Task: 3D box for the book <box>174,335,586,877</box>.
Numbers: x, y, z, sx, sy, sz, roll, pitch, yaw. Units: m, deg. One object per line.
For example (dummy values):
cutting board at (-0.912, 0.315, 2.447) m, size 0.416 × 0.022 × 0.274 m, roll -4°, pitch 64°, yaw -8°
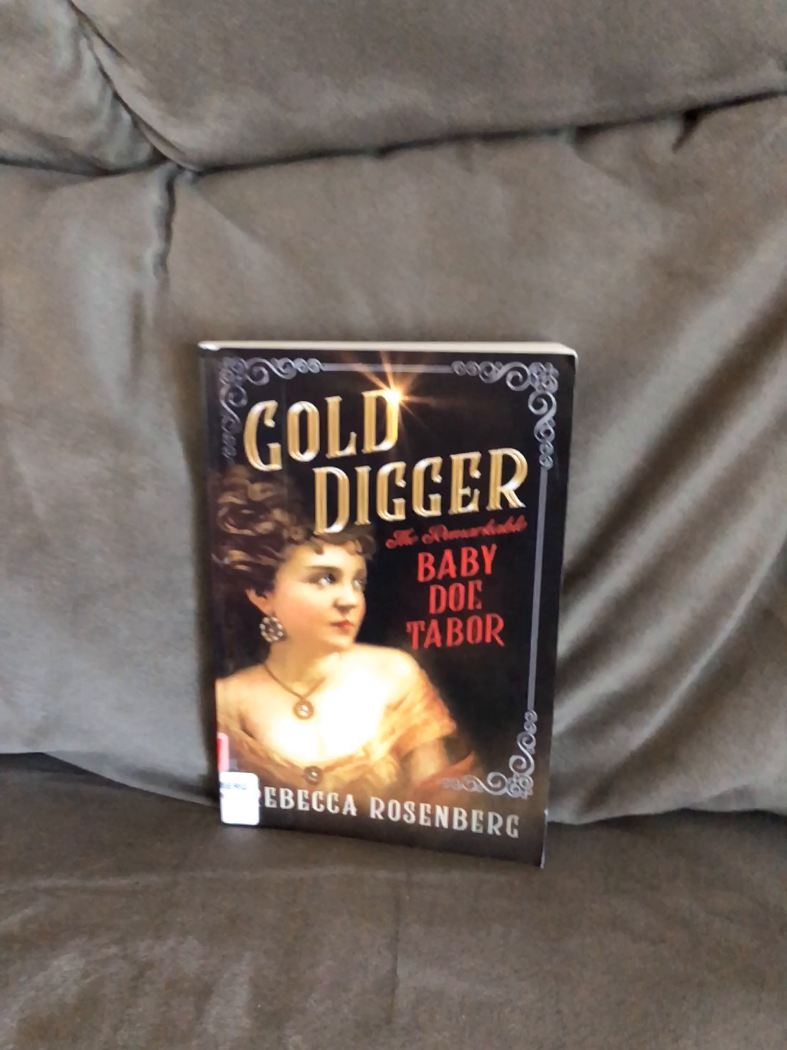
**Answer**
book at (-0.007, 0.029, 0.344) m, size 0.150 × 0.200 × 0.030 m, roll 3°, pitch 12°, yaw 12°
